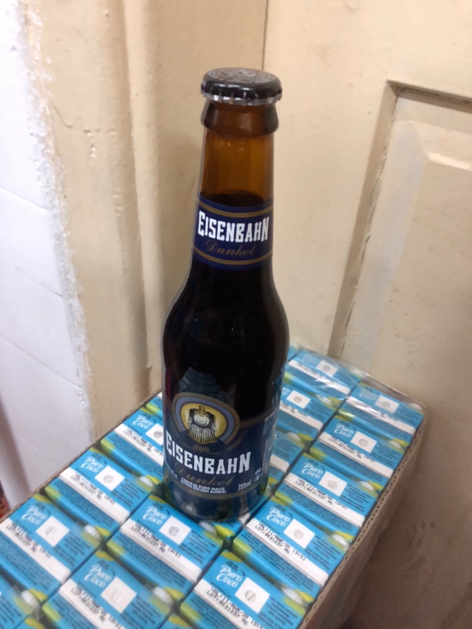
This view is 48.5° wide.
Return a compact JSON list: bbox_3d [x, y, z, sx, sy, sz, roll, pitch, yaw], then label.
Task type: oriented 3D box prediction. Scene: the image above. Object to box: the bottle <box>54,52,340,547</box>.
[{"bbox_3d":[-0.013,0.008,0.221,0.070,0.198,0.060,13,39,12],"label":"bottle"}]
